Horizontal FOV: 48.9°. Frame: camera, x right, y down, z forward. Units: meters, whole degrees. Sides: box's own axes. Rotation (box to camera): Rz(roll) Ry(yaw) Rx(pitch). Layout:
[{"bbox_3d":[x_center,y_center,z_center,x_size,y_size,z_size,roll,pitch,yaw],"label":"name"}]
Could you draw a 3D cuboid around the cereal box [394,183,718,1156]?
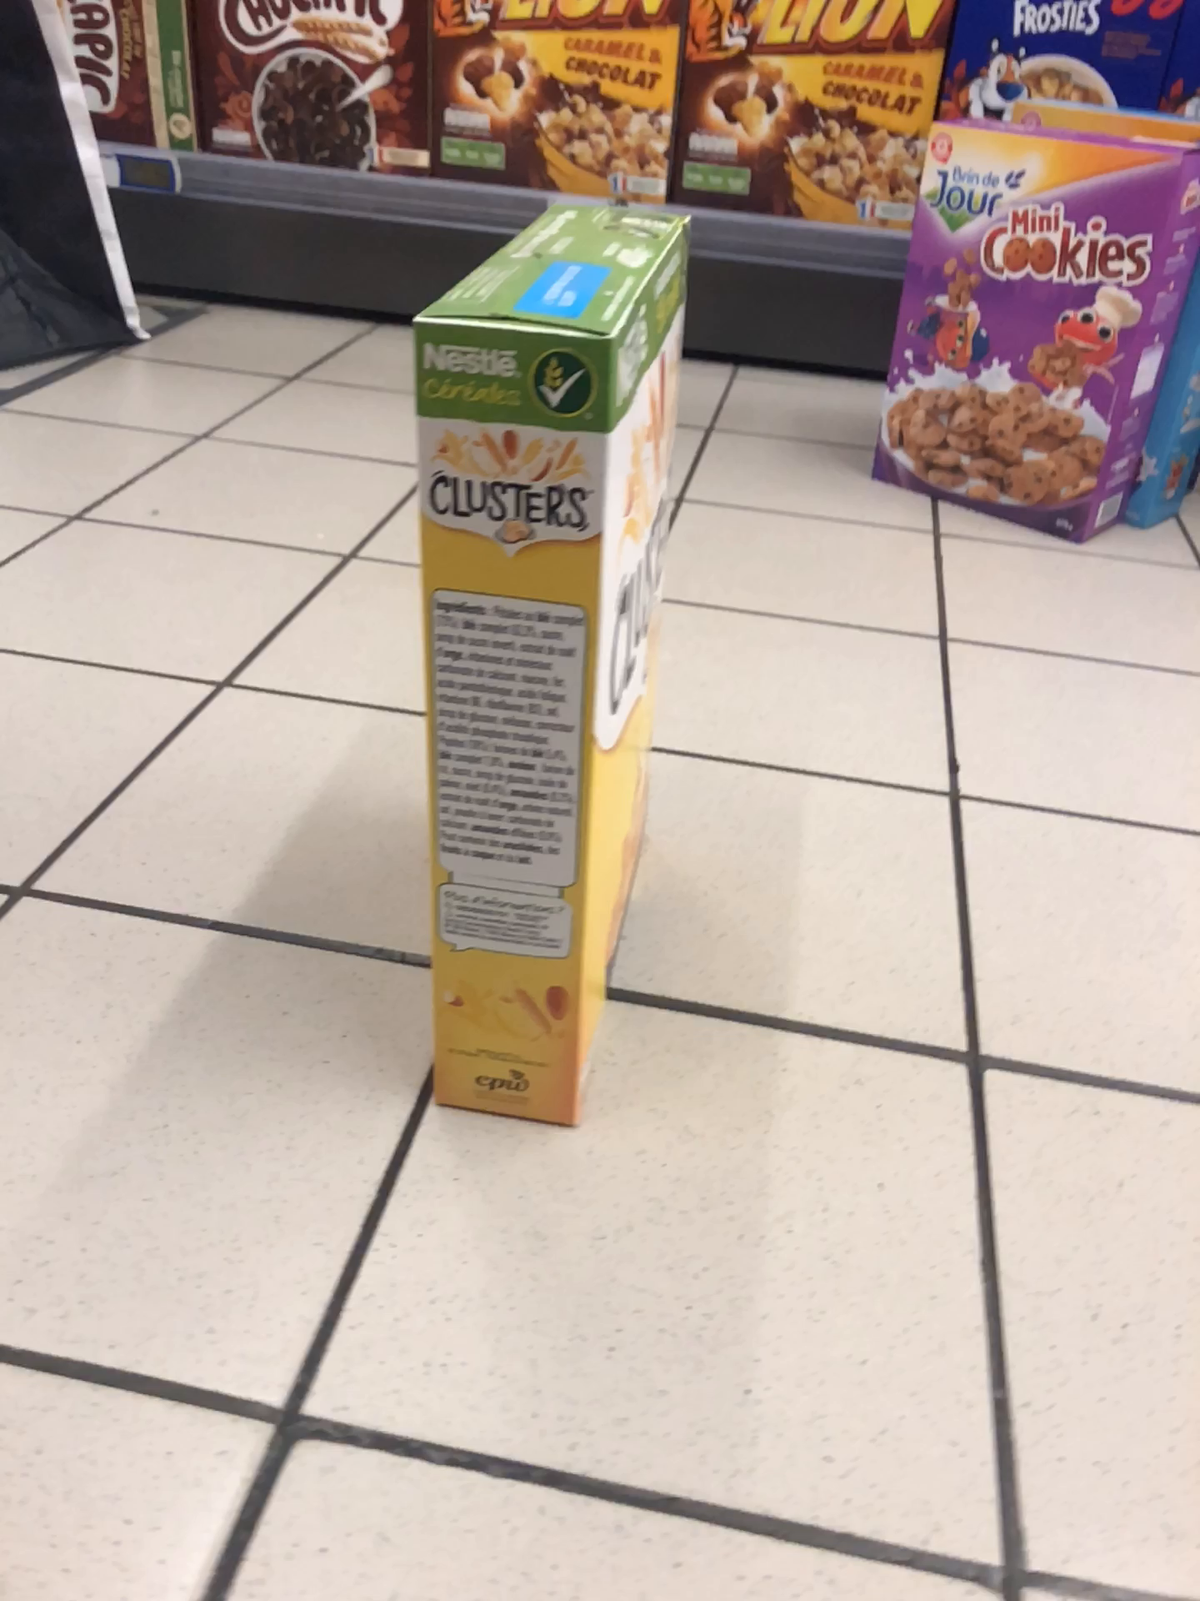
[{"bbox_3d":[-0.010,-0.054,0.475,0.060,0.278,0.211,7,32,6],"label":"cereal box"}]
